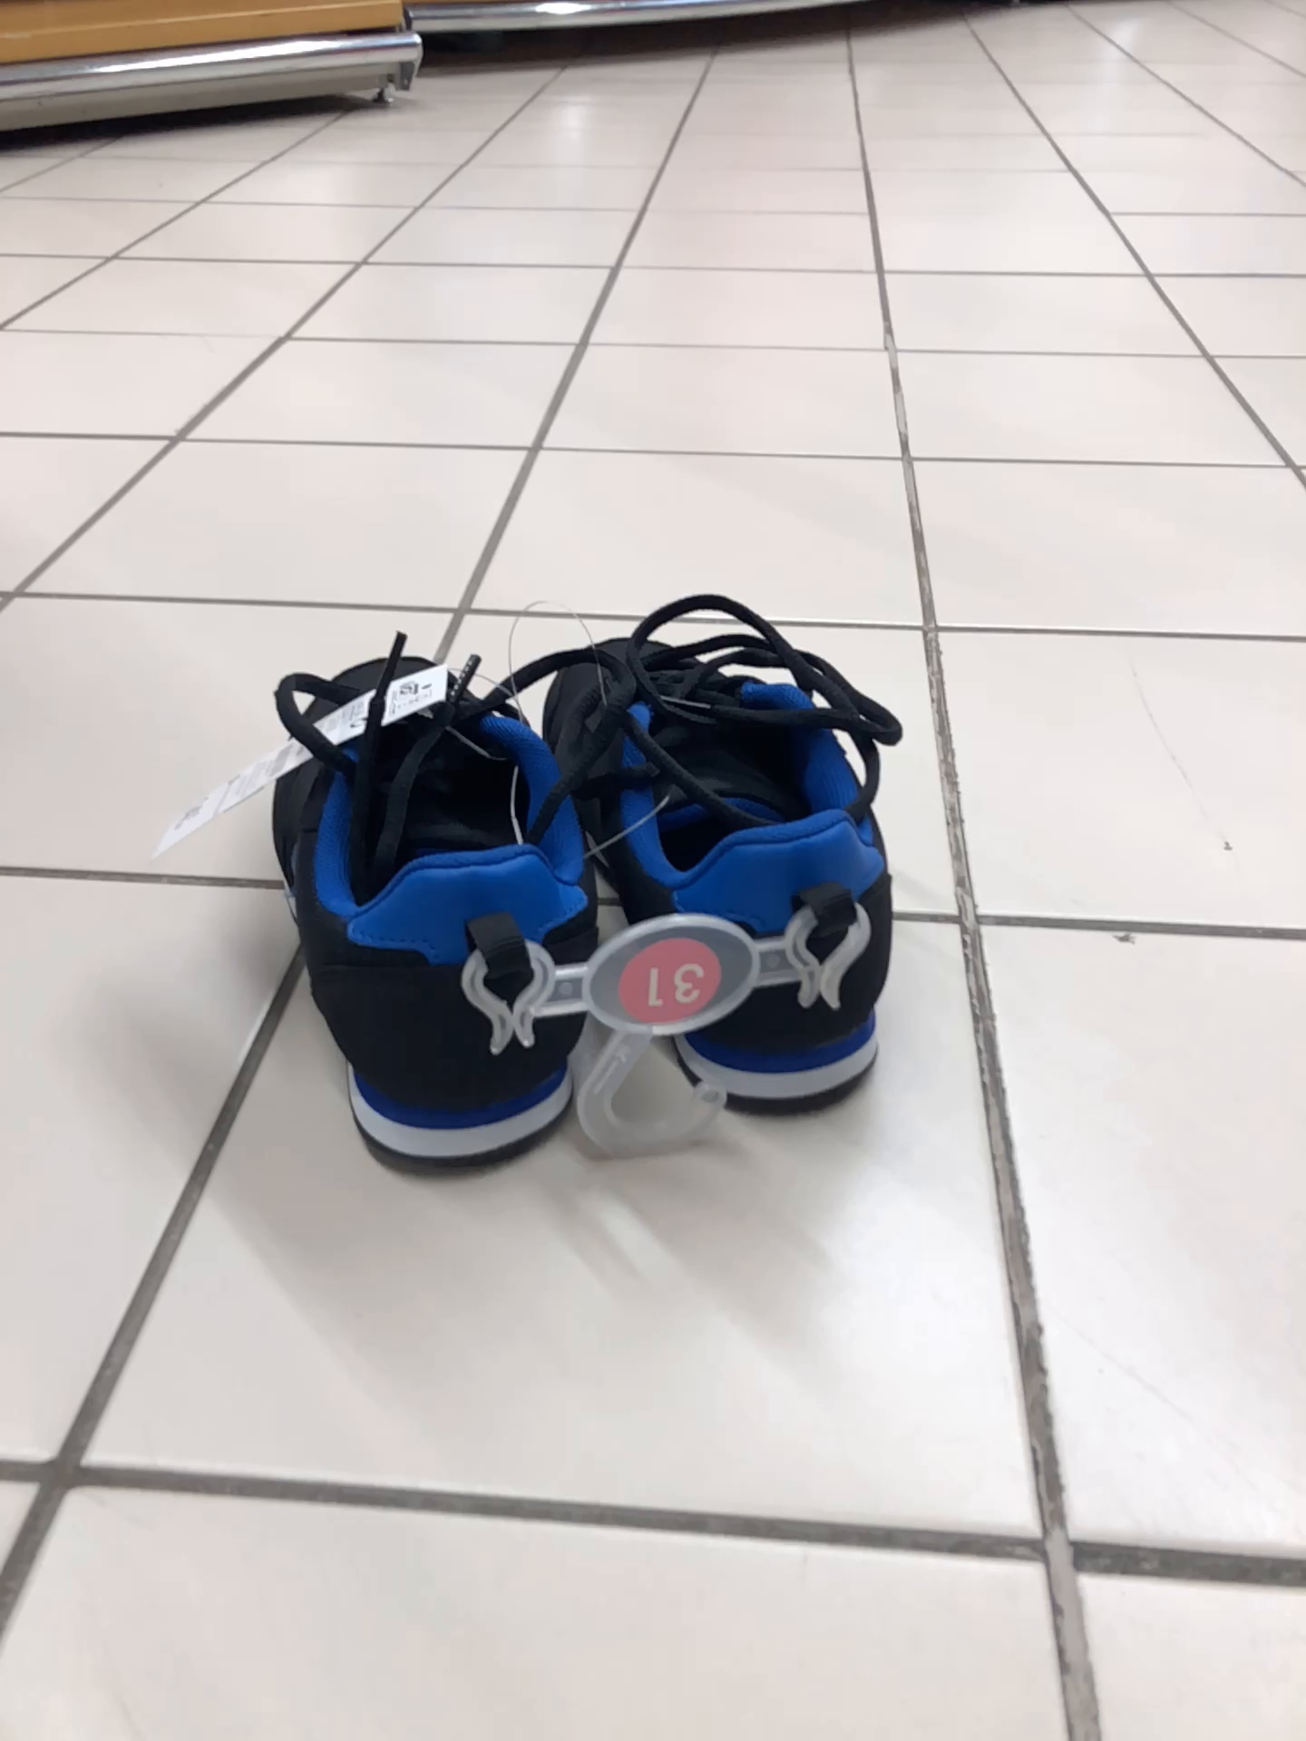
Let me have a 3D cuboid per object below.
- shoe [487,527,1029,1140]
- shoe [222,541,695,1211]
[{"bbox_3d":[0.016,-0.028,0.423,0.085,0.061,0.218,-10,37,-13],"label":"shoe"},{"bbox_3d":[-0.064,-0.015,0.408,0.085,0.071,0.212,-11,37,-15],"label":"shoe"}]
